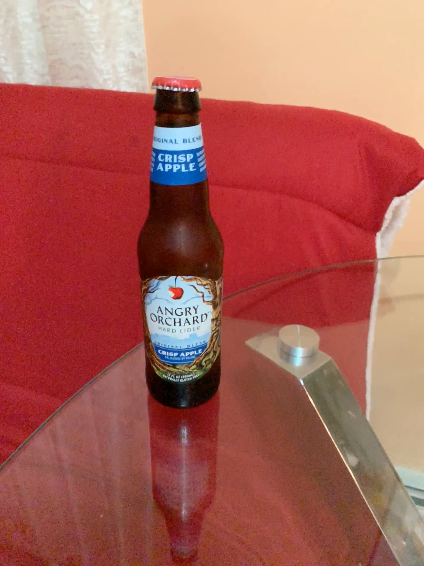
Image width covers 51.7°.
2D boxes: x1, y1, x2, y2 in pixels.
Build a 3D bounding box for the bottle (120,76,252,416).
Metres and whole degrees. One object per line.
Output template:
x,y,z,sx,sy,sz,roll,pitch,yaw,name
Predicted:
-0.019,-0.019,0.315,0.070,0.231,0.070,2,26,-1,bottle
